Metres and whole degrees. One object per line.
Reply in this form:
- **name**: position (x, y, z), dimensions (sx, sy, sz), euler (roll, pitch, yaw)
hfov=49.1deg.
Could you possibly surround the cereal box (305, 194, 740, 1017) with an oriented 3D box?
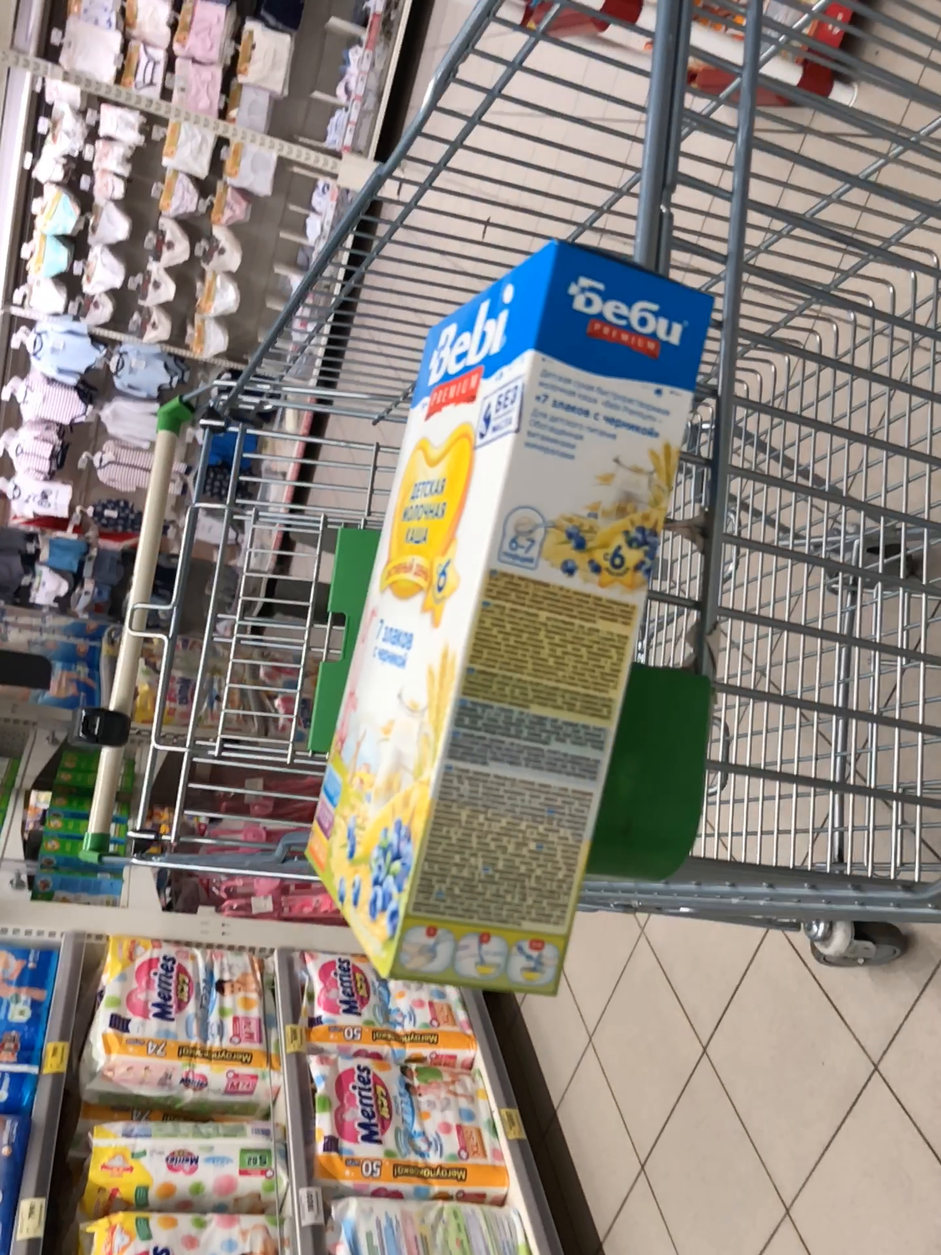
- **cereal box**: position (0.005, -0.008, 0.337), dimensions (0.141, 0.050, 0.210), euler (-168, 91, -71)
